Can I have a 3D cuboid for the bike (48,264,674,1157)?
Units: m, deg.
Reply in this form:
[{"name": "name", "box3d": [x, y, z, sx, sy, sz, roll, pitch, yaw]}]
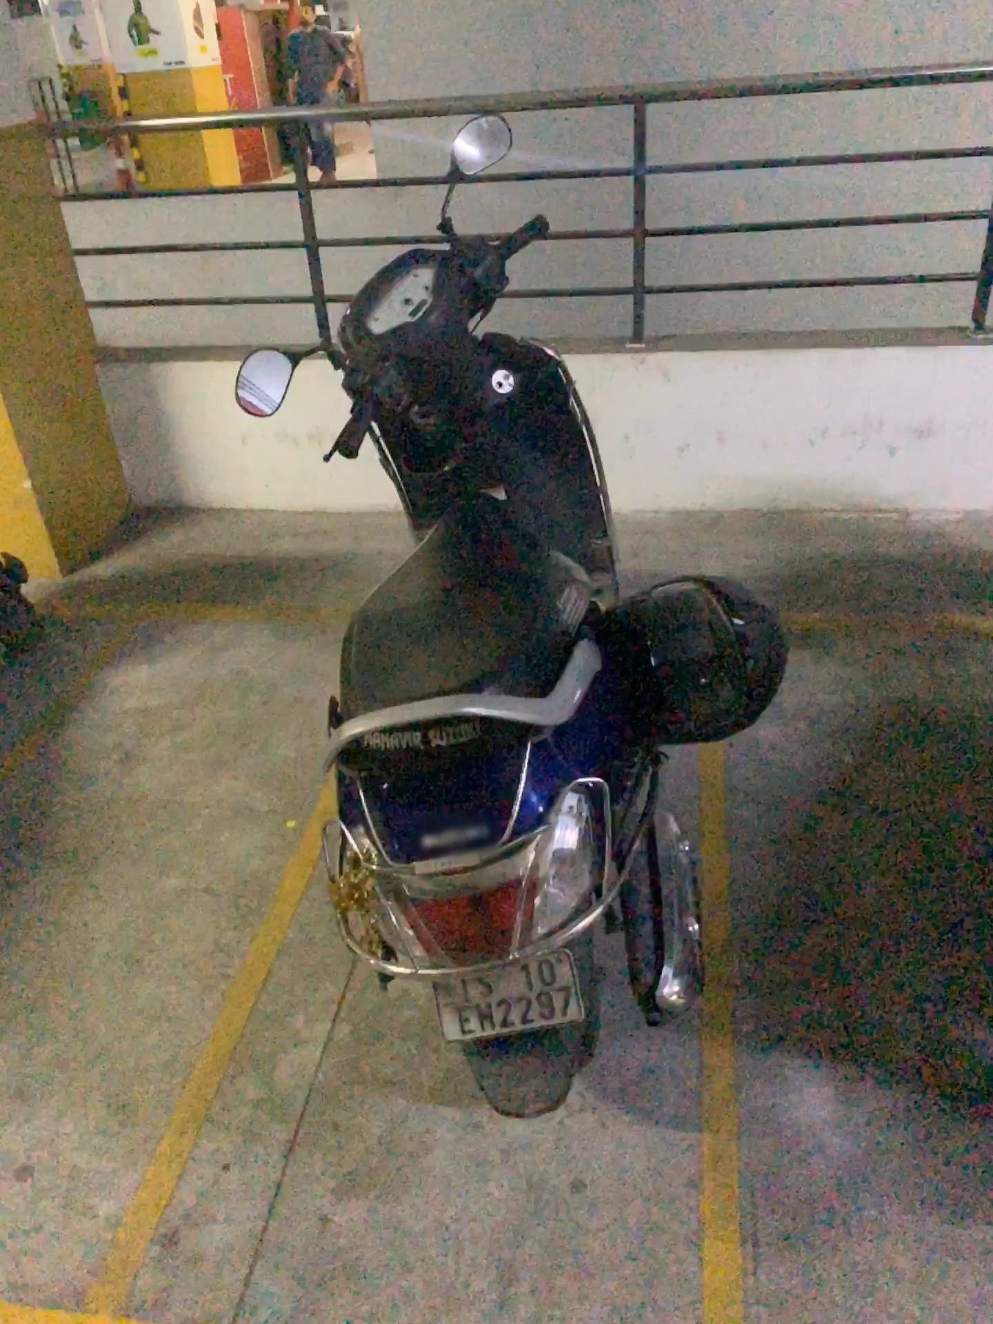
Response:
[{"name": "bike", "box3d": [-0.139, -0.060, 1.959, 0.622, 1.157, 1.482, -5, 29, -1]}]
